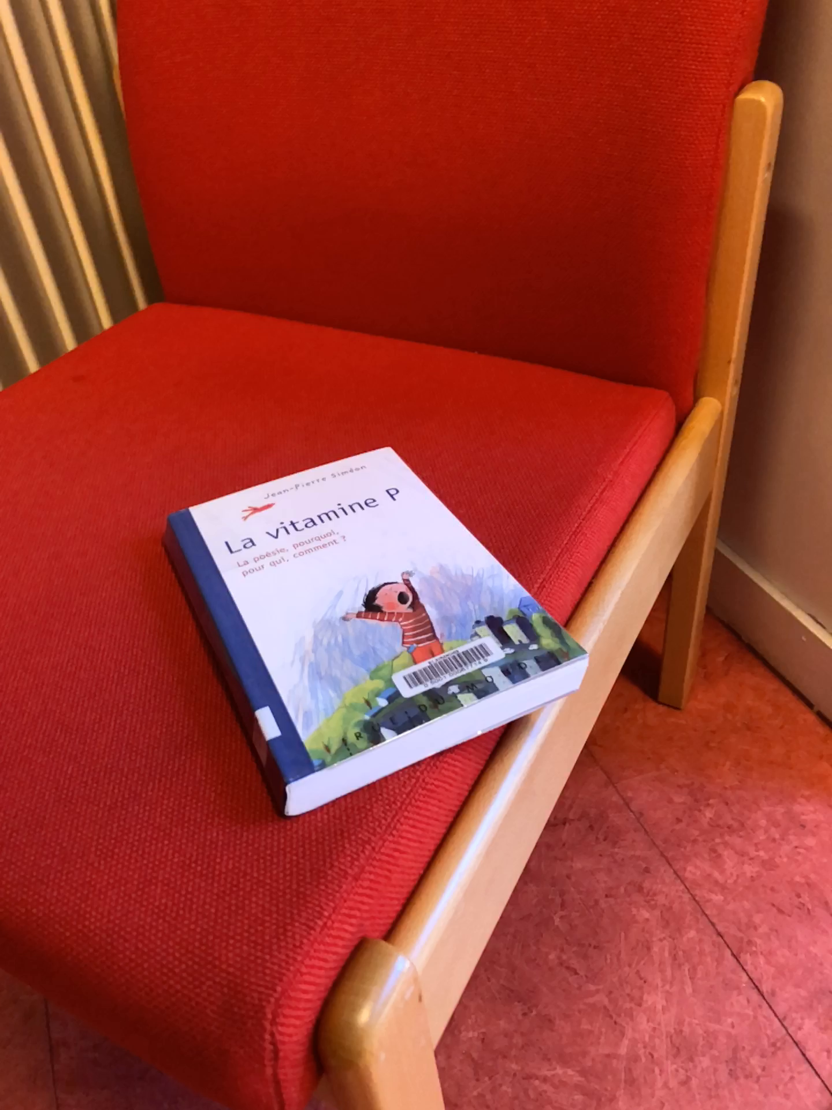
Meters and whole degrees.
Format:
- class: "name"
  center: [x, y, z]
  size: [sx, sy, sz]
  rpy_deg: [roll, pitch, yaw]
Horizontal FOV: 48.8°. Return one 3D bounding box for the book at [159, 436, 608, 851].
- class: "book"
  center: [-0.028, 0.024, 0.459]
  size: [0.147, 0.027, 0.216]
  rpy_deg: [-21, 42, -16]
